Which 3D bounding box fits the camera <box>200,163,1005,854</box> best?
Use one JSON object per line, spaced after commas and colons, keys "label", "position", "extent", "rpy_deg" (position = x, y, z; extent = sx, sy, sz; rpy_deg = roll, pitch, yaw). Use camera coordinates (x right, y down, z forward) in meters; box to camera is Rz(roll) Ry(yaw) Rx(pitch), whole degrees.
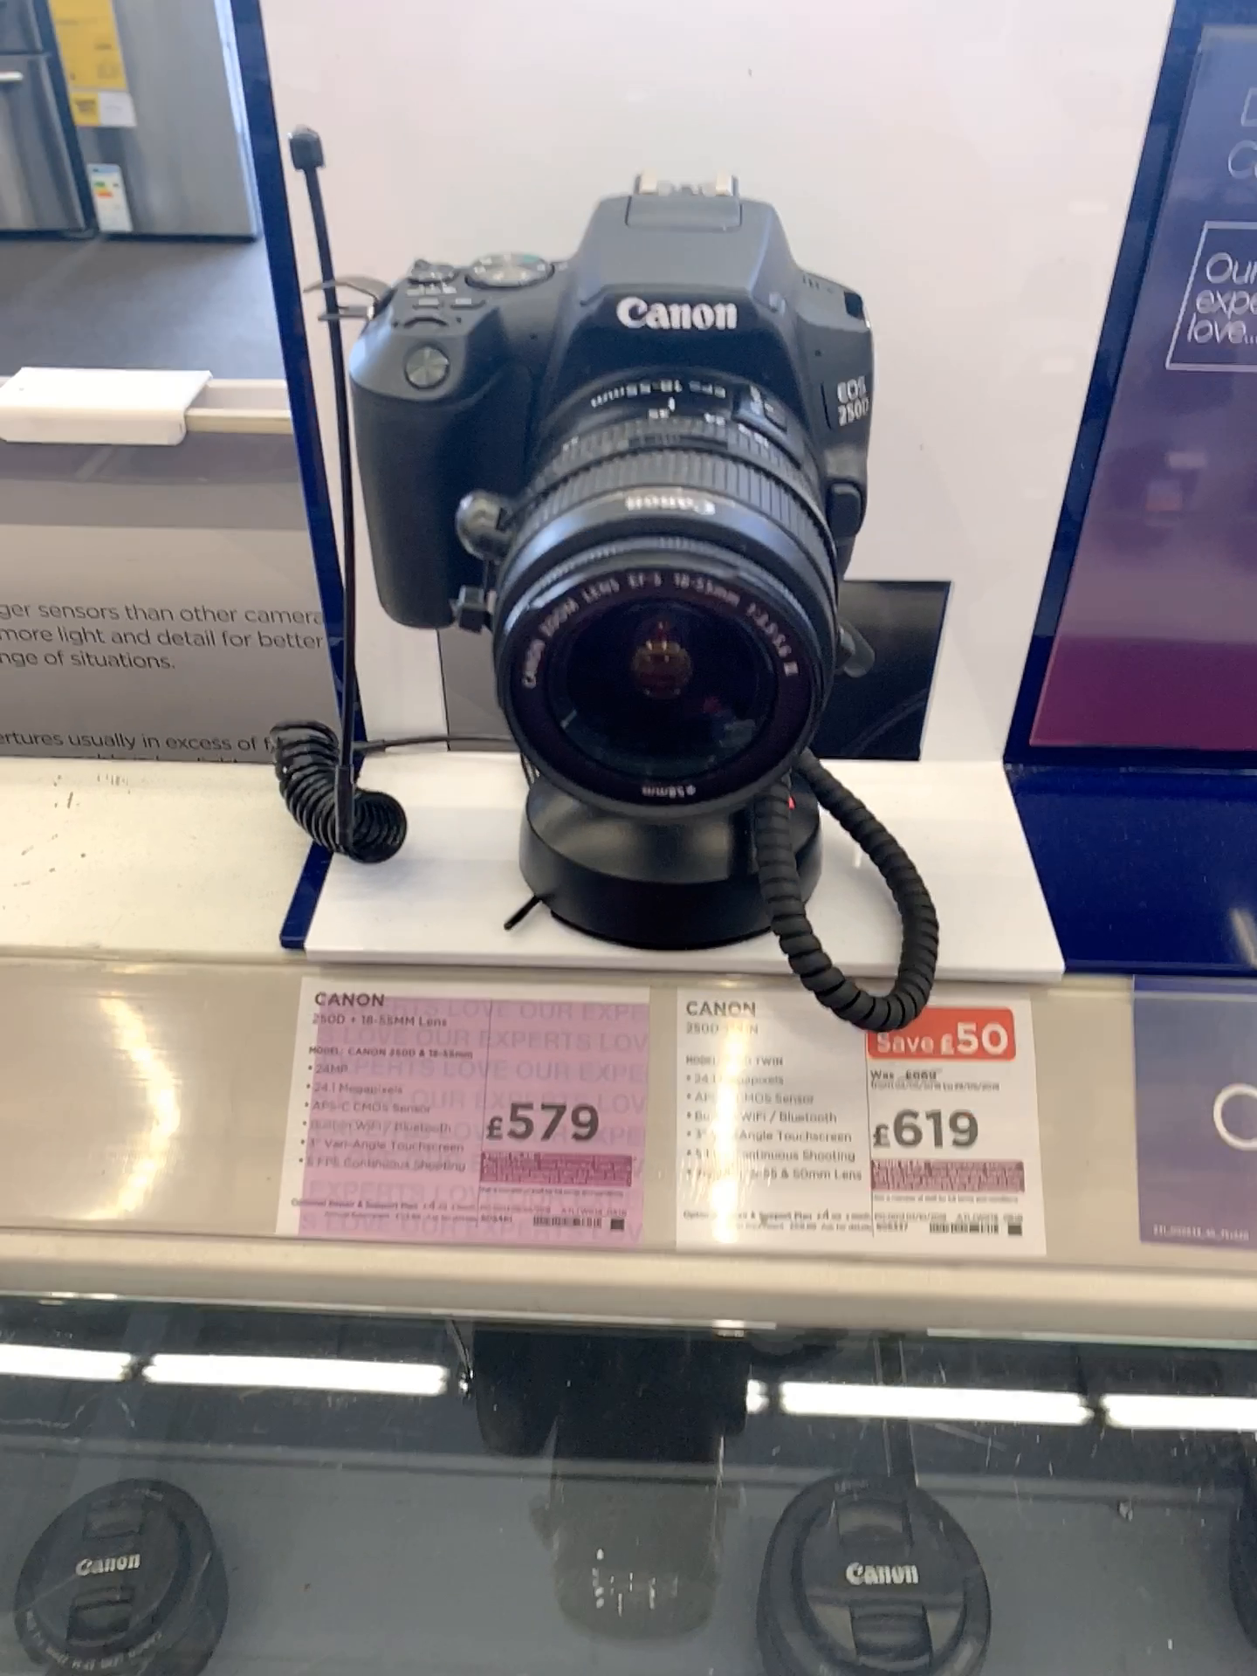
{"label": "camera", "position": [-0.004, -0.077, 0.275], "extent": [0.120, 0.089, 0.141], "rpy_deg": [1, 40, 0]}
